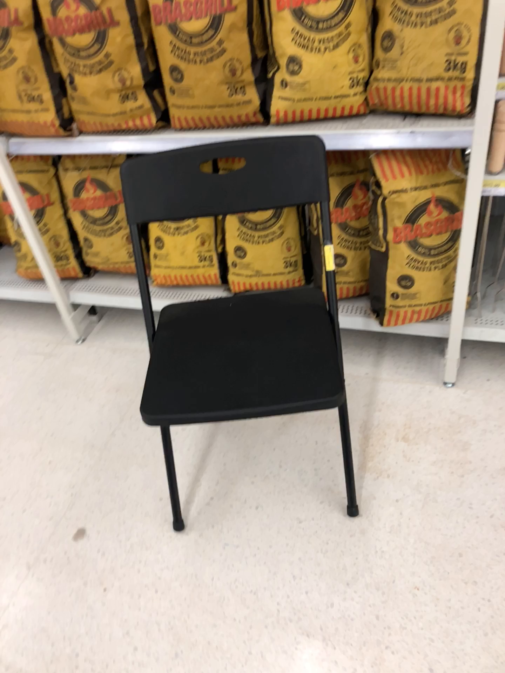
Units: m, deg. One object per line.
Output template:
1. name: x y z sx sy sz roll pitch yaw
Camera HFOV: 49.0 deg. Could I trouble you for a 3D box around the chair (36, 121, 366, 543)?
1. chair: -0.033 0.015 1.167 0.460 0.714 0.453 -6 39 4
